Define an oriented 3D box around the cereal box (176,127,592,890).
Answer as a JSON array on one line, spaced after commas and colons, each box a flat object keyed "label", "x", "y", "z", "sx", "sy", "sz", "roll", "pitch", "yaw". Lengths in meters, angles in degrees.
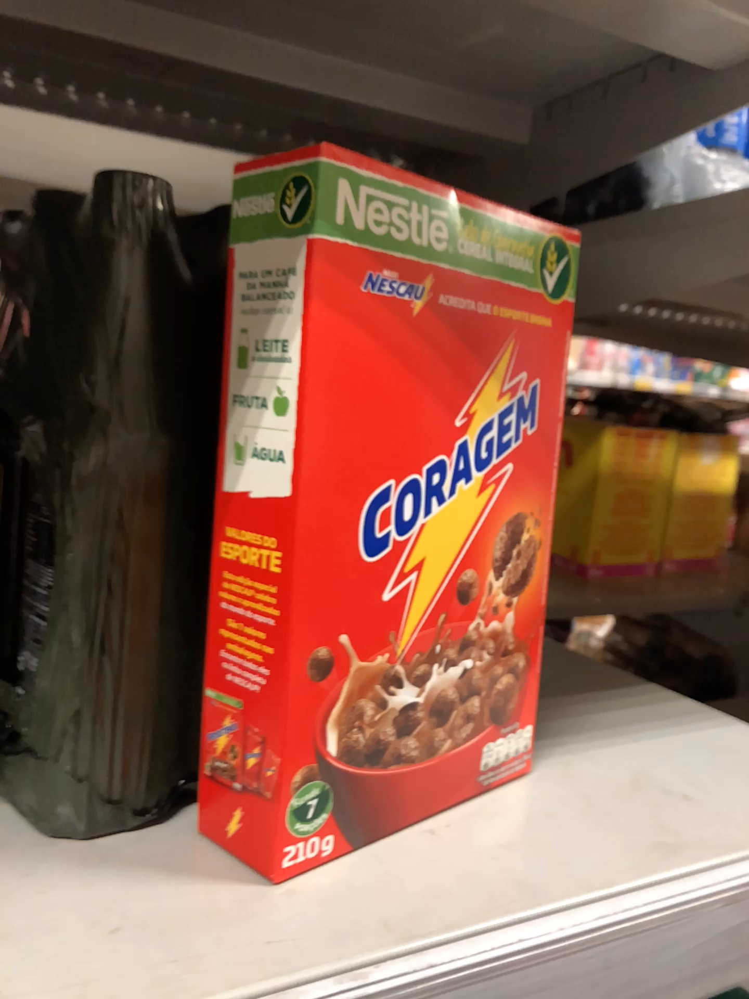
[{"label": "cereal box", "x": 0.010, "y": 0.001, "z": 0.351, "sx": 0.170, "sy": 0.249, "sz": 0.060, "roll": -3, "pitch": 8, "yaw": -43}]
